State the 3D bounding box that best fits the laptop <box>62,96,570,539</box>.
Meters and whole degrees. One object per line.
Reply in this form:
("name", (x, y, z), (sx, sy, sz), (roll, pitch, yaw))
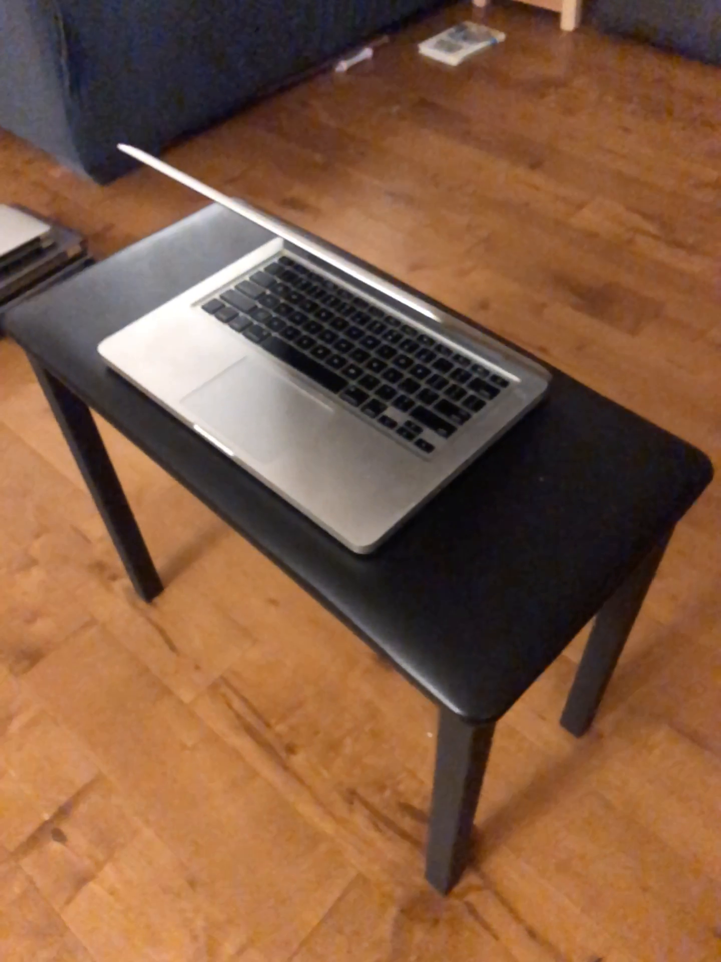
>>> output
("laptop", (-0.040, -0.145, 0.604), (0.209, 0.144, 0.310), (-38, 55, -25))
